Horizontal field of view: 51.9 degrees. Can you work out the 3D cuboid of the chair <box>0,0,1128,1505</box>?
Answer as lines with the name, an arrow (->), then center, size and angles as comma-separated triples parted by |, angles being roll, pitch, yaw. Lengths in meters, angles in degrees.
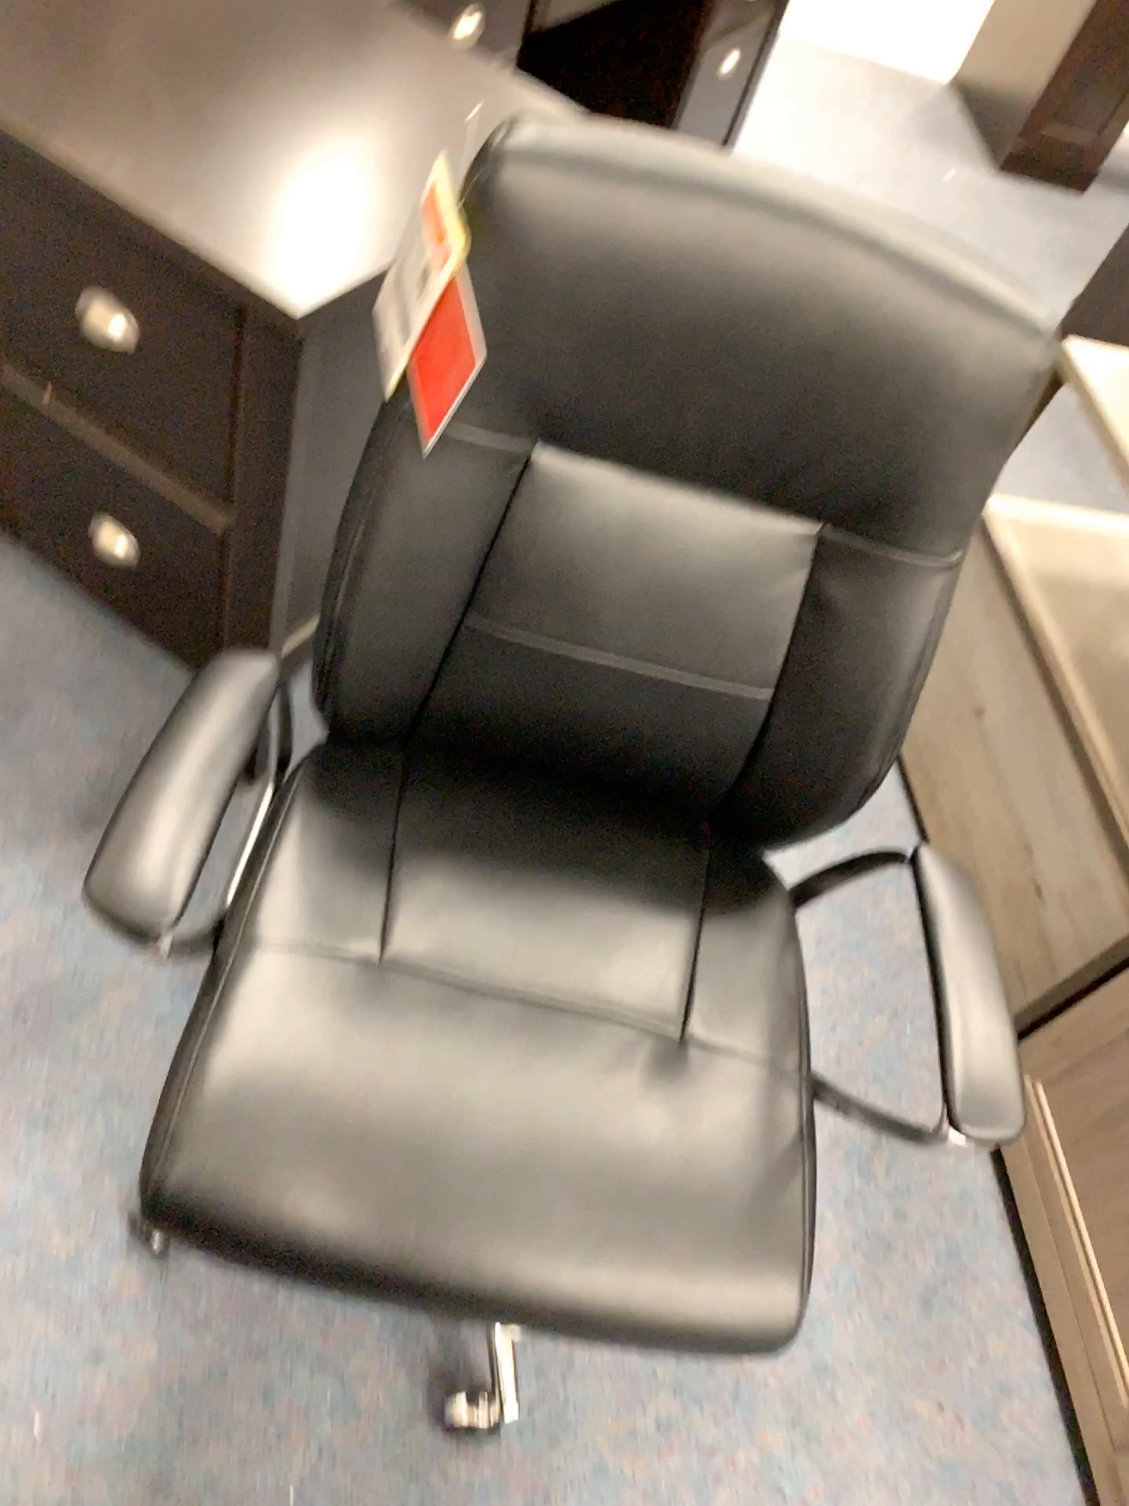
chair -> 0.001, 0.139, 0.976 | 0.664, 0.997, 0.719 | 14, 51, -8
